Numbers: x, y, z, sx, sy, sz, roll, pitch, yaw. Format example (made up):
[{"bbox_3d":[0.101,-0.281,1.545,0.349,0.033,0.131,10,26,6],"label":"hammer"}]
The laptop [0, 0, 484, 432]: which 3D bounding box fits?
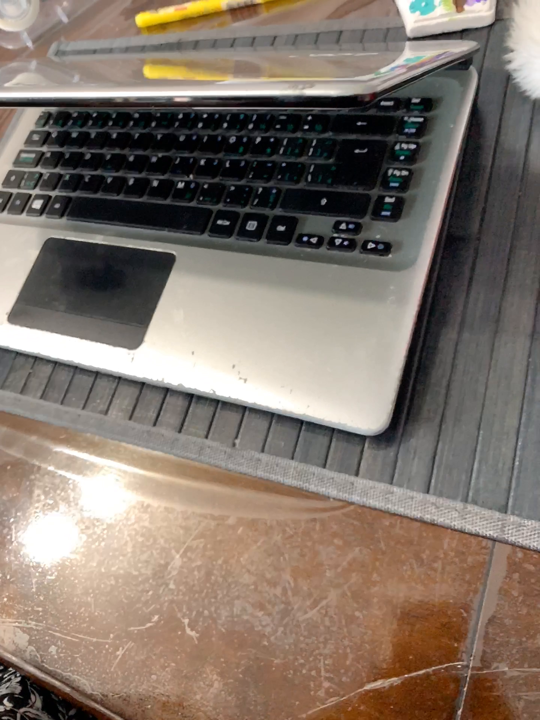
[{"bbox_3d":[-0.089,-0.126,0.305,0.344,0.141,0.225,11,72,23],"label":"laptop"}]
